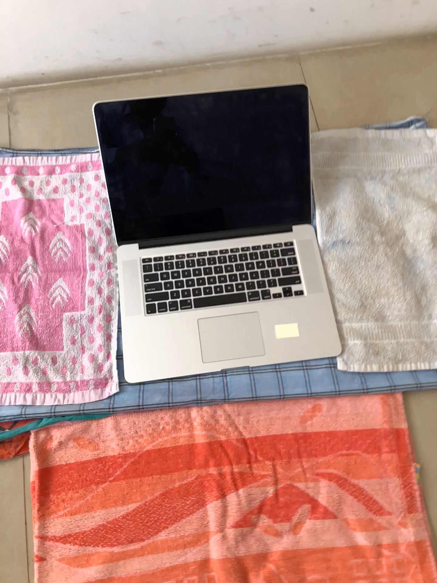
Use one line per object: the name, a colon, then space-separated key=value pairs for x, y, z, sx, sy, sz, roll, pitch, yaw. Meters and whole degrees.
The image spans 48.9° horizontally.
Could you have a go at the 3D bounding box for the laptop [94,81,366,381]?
laptop: x=-0.002 y=-0.098 z=0.767 sx=0.343 sy=0.144 sz=0.413 roll=-8 pitch=71 yaw=-2
